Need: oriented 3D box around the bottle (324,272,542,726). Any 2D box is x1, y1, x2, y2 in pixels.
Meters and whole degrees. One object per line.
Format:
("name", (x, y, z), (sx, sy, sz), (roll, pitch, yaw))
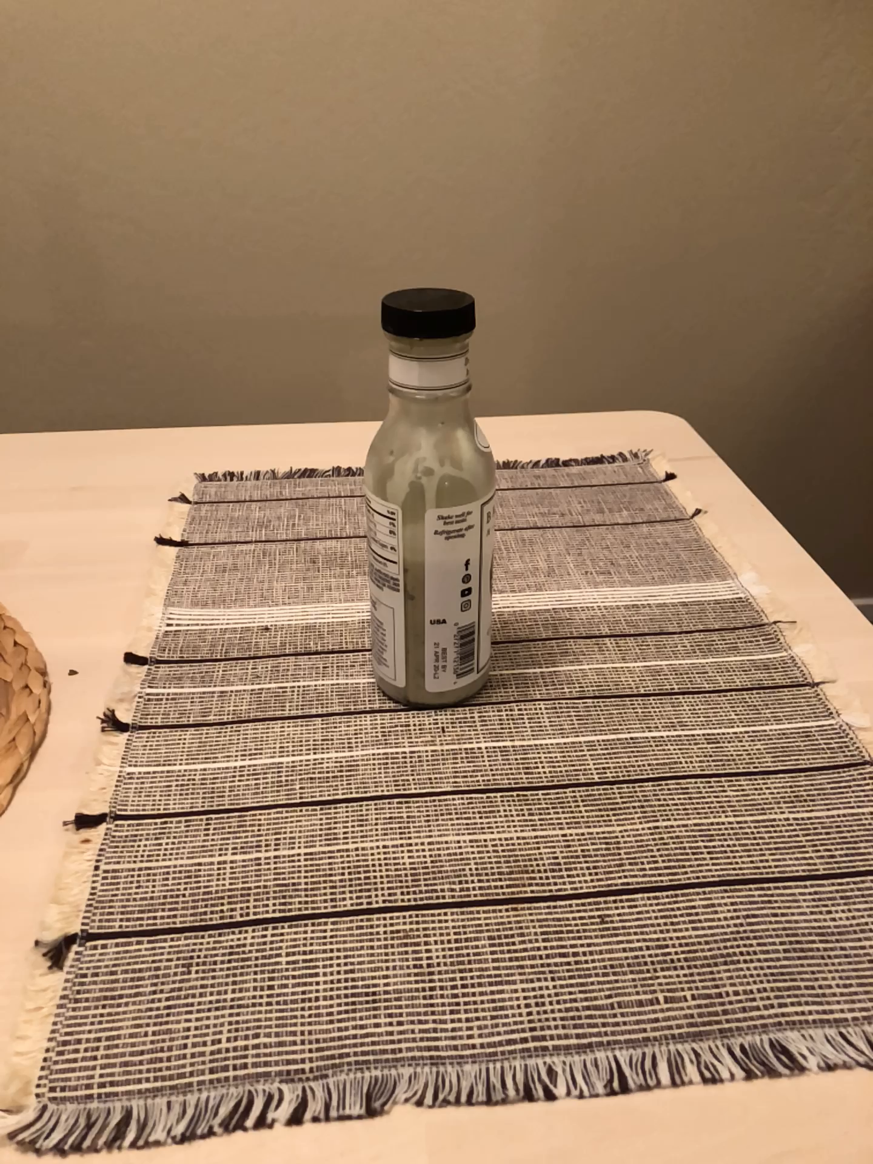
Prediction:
("bottle", (-0.003, -0.037, 0.443), (0.070, 0.186, 0.075), (0, 29, 0))
